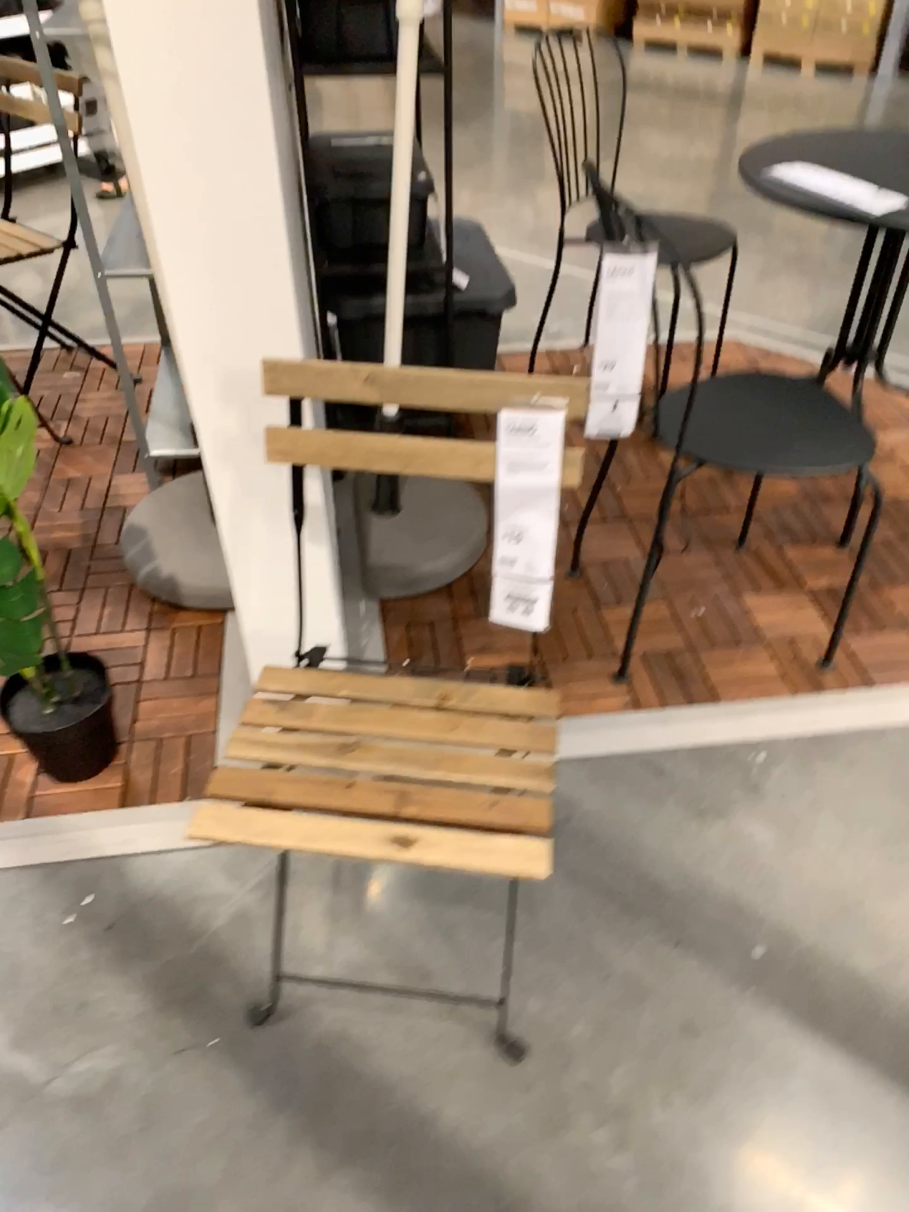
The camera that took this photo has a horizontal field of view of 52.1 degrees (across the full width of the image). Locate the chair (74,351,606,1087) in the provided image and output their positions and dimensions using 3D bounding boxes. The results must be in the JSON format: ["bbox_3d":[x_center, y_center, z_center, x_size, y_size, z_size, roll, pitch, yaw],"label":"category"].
[{"bbox_3d":[-0.065,0.147,1.124,0.408,0.722,0.478,5,40,6],"label":"chair"}]

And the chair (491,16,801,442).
[{"bbox_3d":[0.432,-0.928,2.305,0.547,0.831,0.379,22,45,25],"label":"chair"}]

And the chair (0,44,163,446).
[{"bbox_3d":[-1.215,-0.963,2.472,0.499,0.811,0.507,29,48,31],"label":"chair"}]

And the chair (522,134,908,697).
[{"bbox_3d":[0.447,-0.303,1.596,0.556,0.821,0.400,-5,40,-6],"label":"chair"}]
